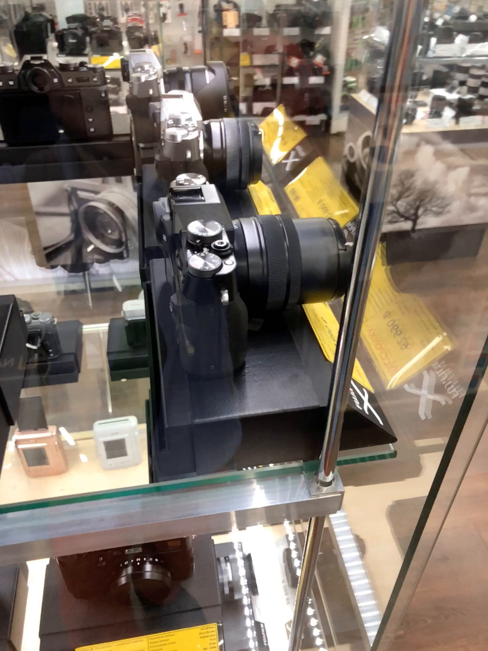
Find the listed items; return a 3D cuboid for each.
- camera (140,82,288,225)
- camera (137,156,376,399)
[{"bbox_3d":[-0.030,-0.151,0.463,0.108,0.078,0.114,-5,38,-8],"label":"camera"},{"bbox_3d":[-0.001,-0.035,0.328,0.110,0.089,0.114,-7,38,-10],"label":"camera"}]
